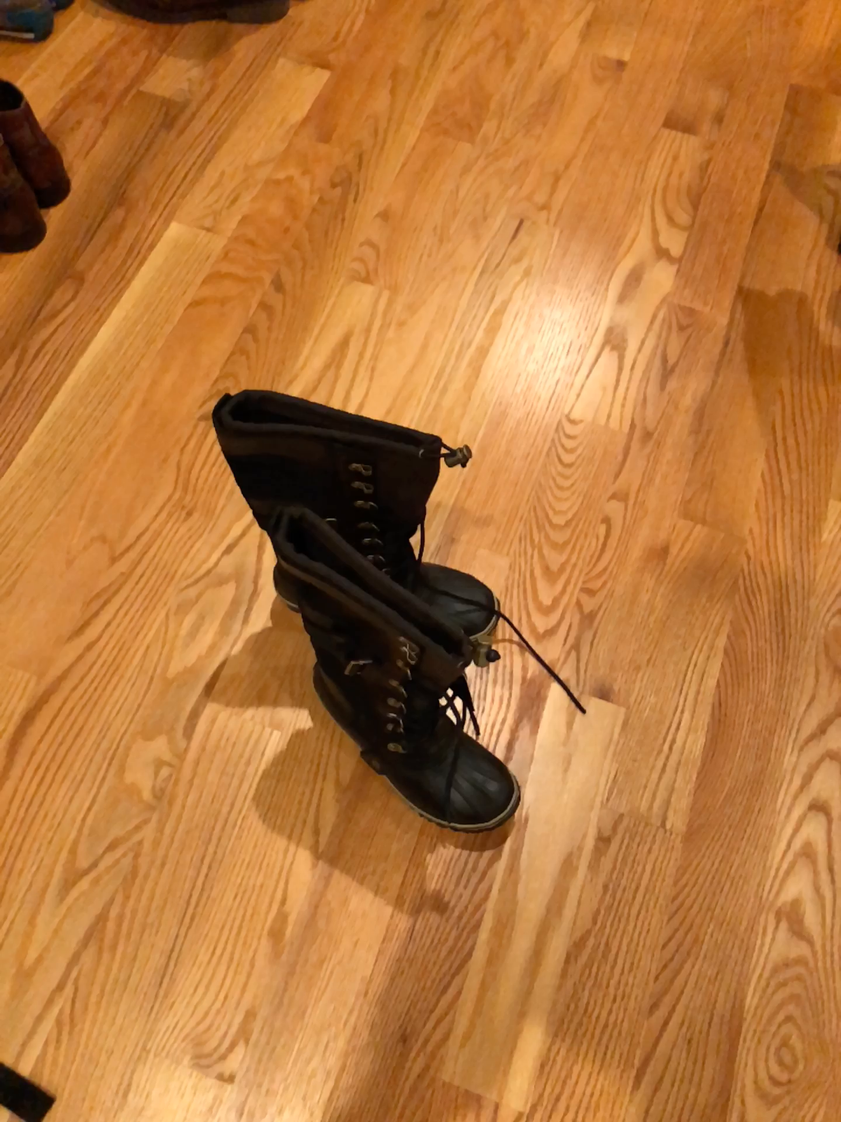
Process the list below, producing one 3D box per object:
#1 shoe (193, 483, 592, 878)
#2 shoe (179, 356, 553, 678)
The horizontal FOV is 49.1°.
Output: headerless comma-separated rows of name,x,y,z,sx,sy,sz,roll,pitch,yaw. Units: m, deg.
shoe,-0.028,0.118,0.760,0.260,0.309,0.100,33,66,13
shoe,-0.043,-0.018,0.818,0.260,0.329,0.100,8,63,1
